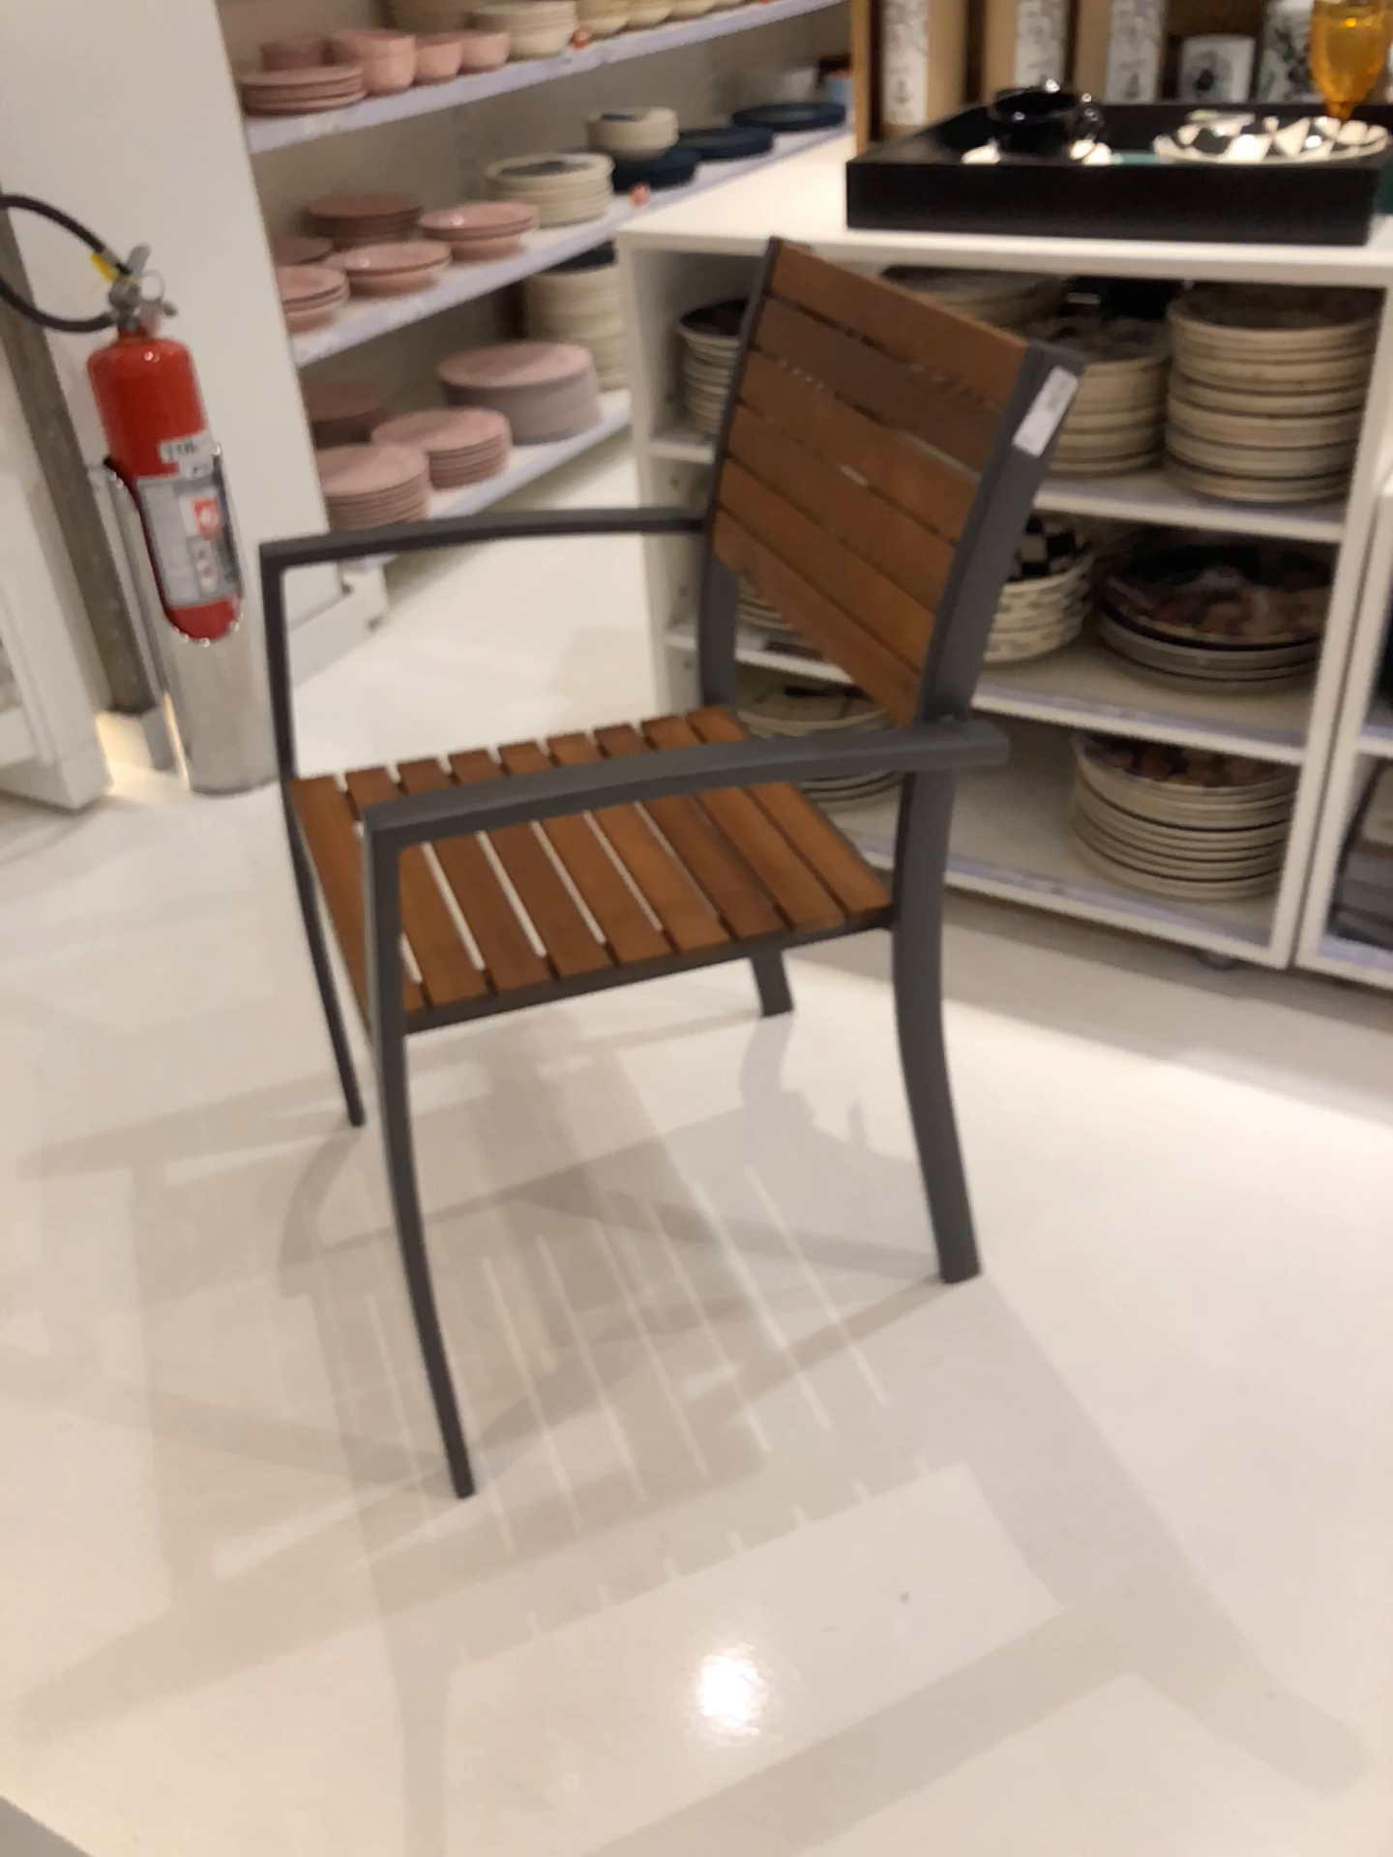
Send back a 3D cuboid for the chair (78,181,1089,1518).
[{"bbox_3d":[-0.101,-0.100,1.245,0.530,0.784,0.594,-15,35,-14],"label":"chair"}]
